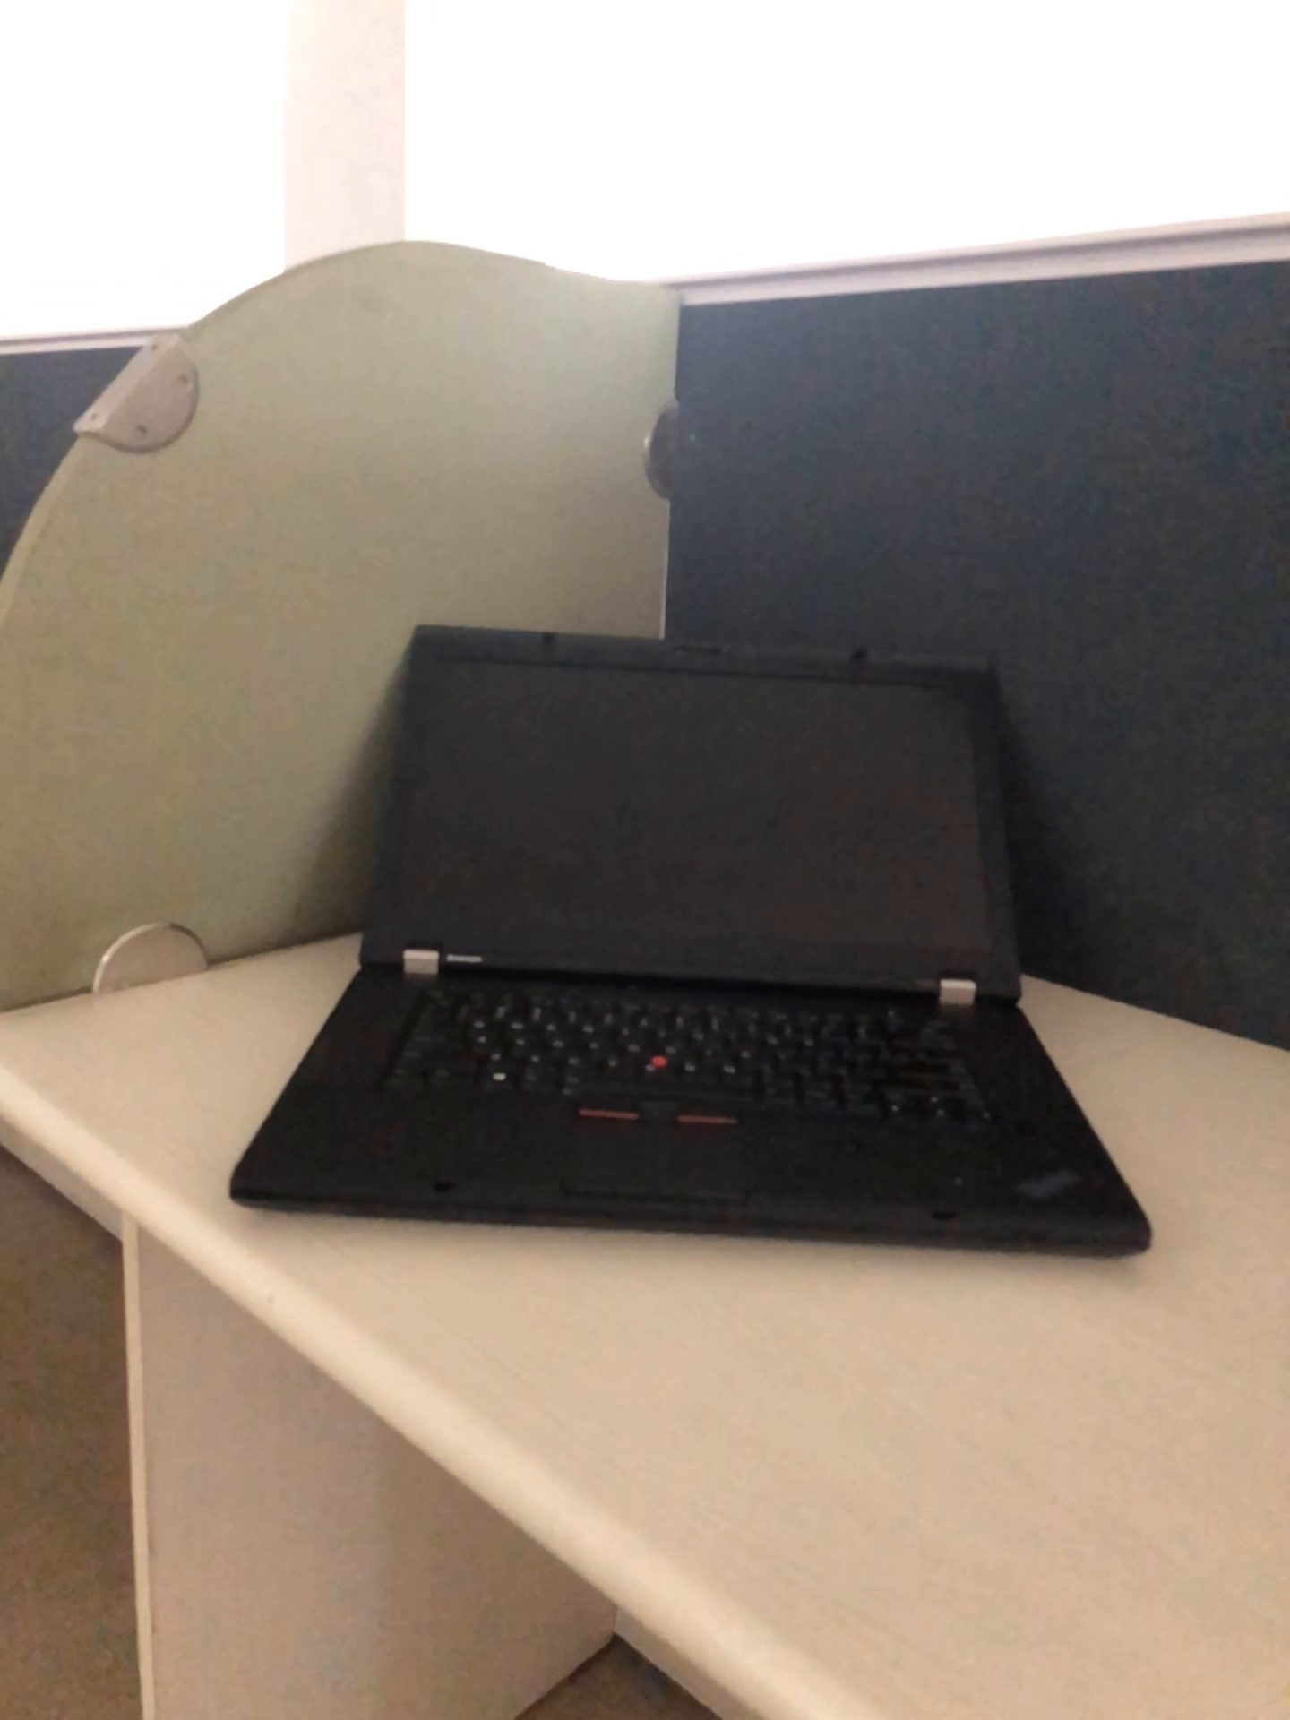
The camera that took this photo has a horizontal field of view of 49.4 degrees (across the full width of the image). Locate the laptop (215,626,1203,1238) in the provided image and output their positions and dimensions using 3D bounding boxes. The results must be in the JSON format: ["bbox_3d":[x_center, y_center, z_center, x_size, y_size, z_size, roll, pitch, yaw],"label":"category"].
[{"bbox_3d":[0.025,-0.002,0.718,0.355,0.168,0.406,3,16,1],"label":"laptop"}]
